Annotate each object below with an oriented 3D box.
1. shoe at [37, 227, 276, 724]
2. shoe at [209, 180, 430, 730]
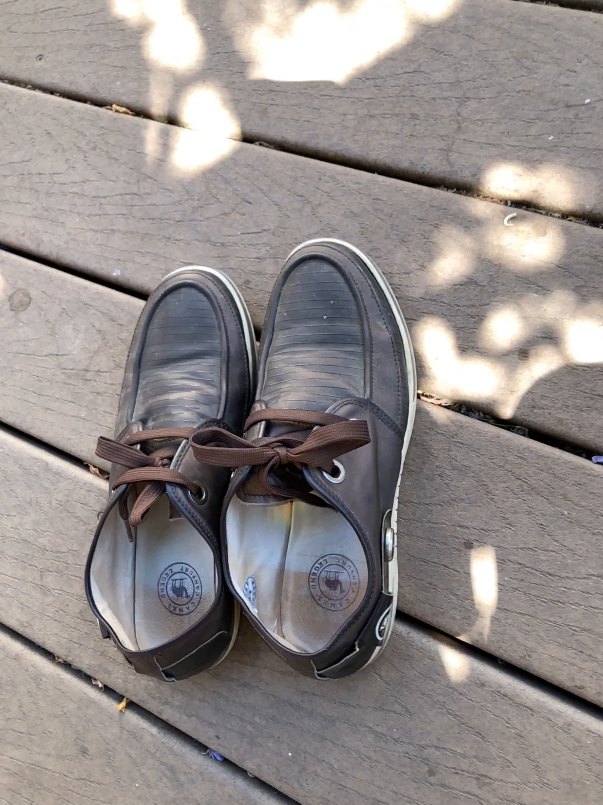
[{"bbox_3d":[-0.089,0.044,0.457,0.107,0.115,0.287,-2,82,17],"label":"shoe"},{"bbox_3d":[0.017,0.028,0.417,0.107,0.105,0.289,-2,82,17],"label":"shoe"}]
